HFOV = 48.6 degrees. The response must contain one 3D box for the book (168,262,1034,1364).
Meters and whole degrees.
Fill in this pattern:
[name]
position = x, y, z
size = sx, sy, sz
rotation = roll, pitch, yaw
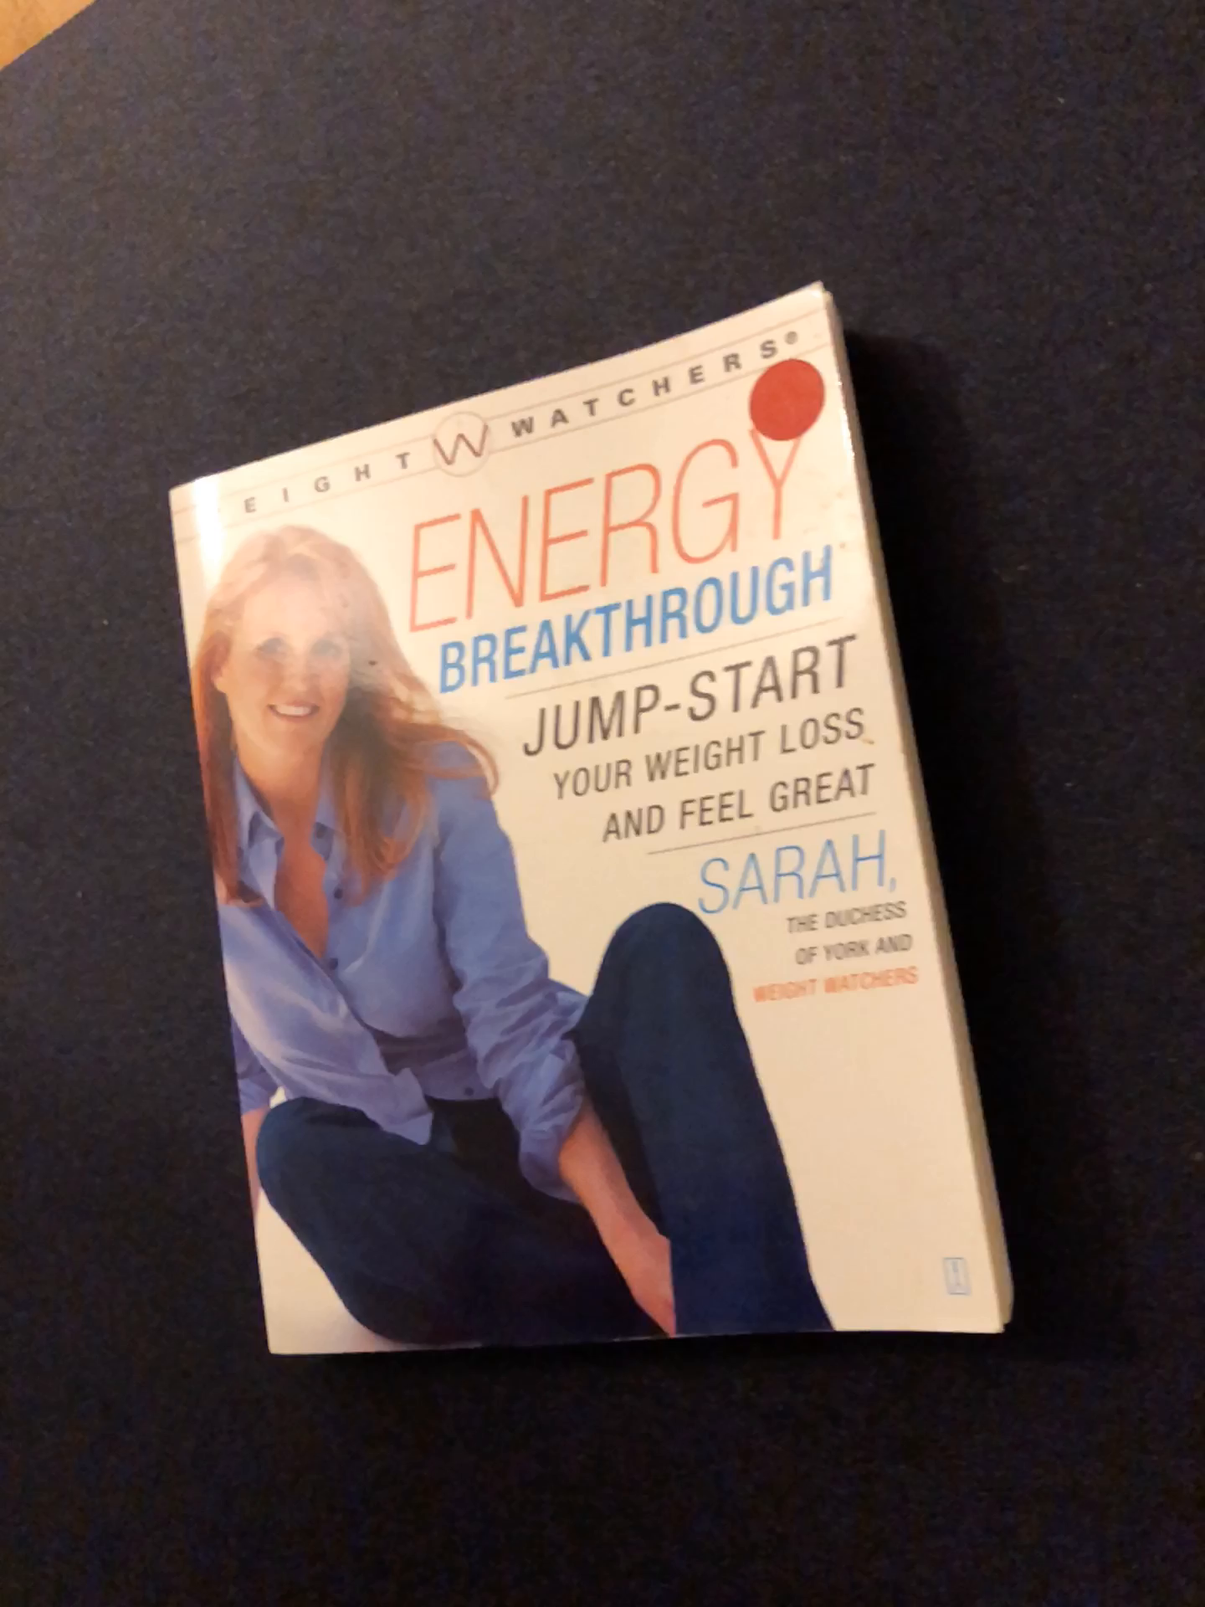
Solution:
[book]
position = -0.011, 0.010, 0.331
size = 0.186, 0.030, 0.234
rotation = -10, 82, 19
